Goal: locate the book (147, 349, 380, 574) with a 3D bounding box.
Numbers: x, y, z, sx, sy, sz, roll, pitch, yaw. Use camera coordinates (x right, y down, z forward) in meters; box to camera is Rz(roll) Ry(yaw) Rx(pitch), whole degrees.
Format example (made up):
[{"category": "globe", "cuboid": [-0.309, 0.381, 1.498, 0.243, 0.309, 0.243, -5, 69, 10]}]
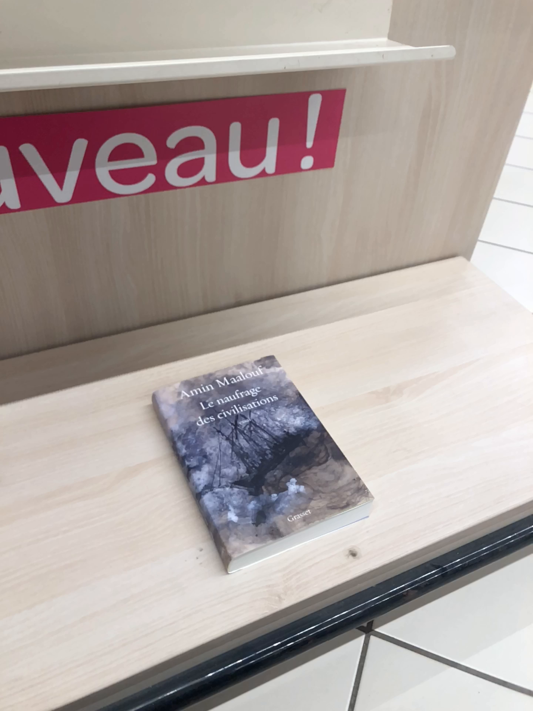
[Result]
[{"category": "book", "cuboid": [-0.012, 0.087, 0.574, 0.148, 0.026, 0.212, -15, 46, -22]}]
